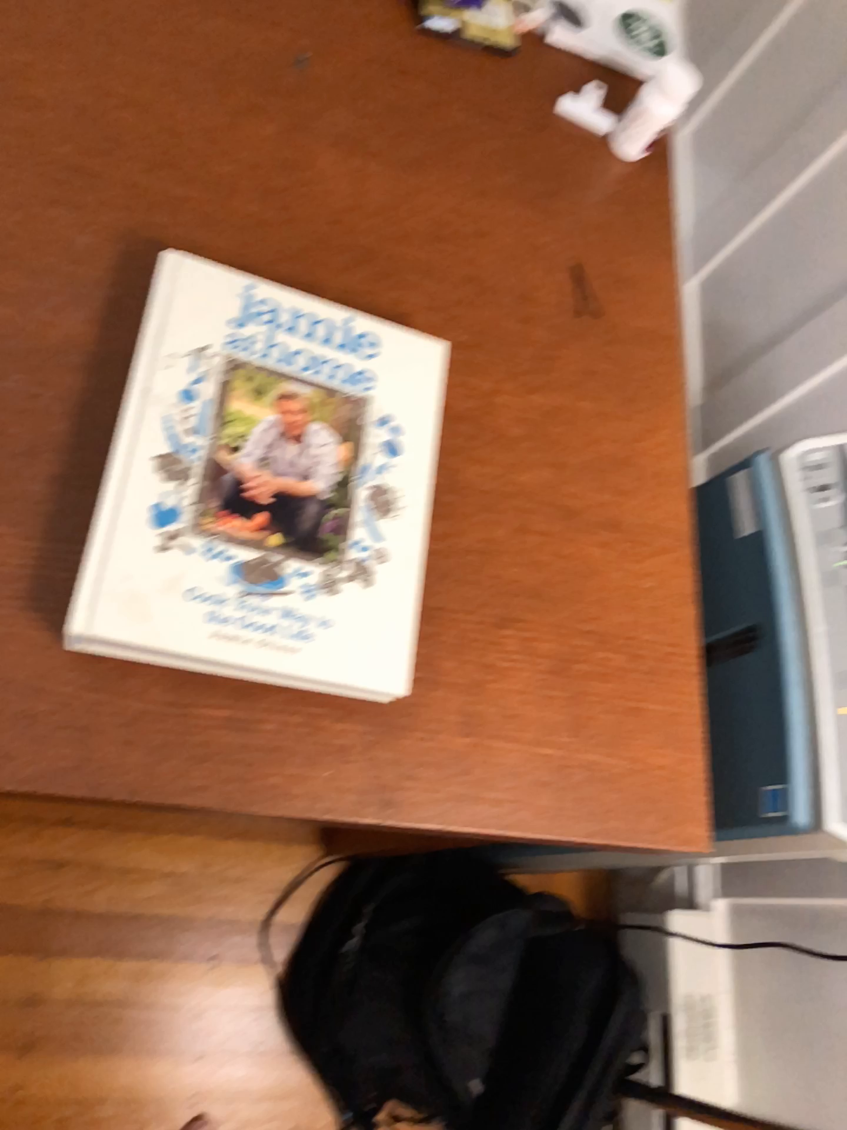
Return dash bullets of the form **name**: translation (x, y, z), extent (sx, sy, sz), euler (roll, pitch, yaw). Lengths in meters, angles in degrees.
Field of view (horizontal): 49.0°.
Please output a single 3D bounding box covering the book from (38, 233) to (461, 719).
- **book**: translation (-0.093, -0.055, 0.574), extent (0.210, 0.040, 0.261), euler (14, 67, -17)
